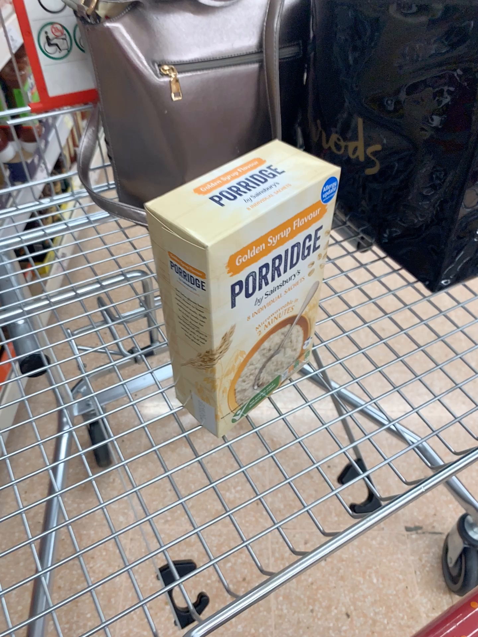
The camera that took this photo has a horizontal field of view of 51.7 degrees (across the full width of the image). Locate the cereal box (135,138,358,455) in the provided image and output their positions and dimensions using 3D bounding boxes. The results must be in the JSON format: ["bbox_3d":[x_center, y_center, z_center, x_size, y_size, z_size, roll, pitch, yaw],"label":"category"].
[{"bbox_3d":[0.007,-0.009,0.387,0.070,0.208,0.131,36,55,29],"label":"cereal box"}]
